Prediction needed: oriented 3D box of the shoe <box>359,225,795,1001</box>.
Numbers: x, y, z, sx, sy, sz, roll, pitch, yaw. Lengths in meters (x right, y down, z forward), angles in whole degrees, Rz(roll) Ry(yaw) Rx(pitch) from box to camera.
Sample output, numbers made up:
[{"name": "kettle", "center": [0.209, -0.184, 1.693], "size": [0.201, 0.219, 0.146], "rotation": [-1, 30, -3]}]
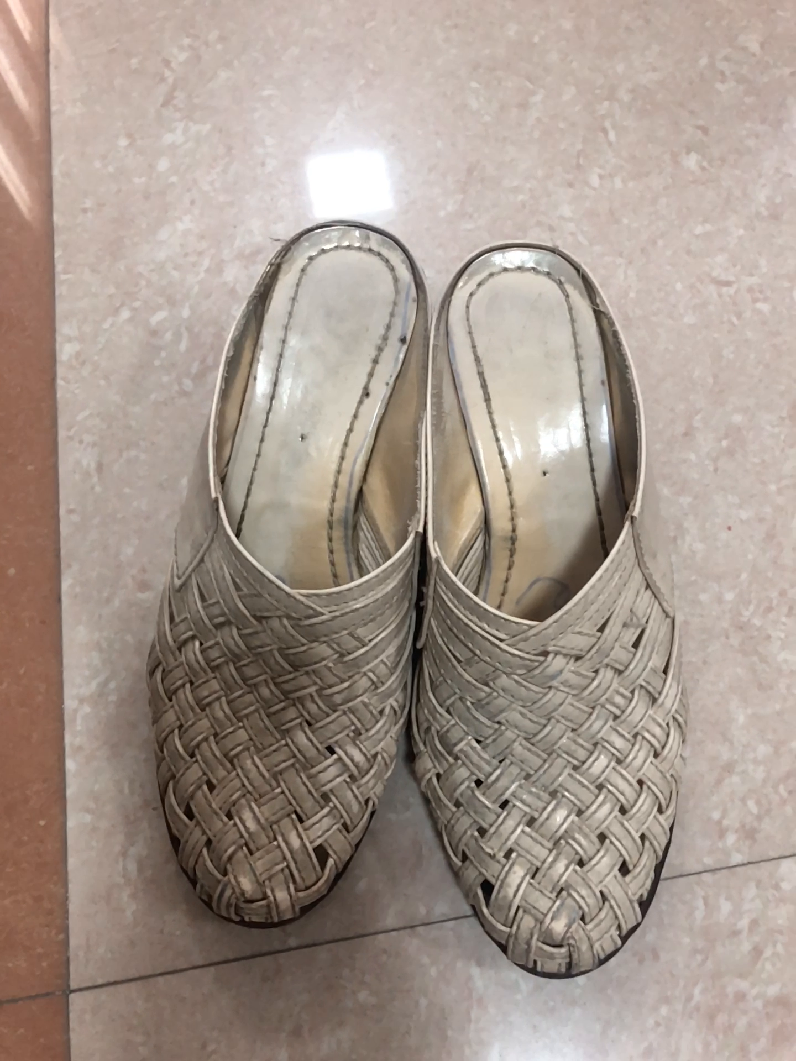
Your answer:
[{"name": "shoe", "center": [0.045, 0.021, 0.289], "size": [0.100, 0.085, 0.222], "rotation": [-4, 67, 0]}]

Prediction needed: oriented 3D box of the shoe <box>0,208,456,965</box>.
[{"name": "shoe", "center": [-0.042, 0.013, 0.299], "size": [0.100, 0.085, 0.225], "rotation": [6, 67, 4]}]
